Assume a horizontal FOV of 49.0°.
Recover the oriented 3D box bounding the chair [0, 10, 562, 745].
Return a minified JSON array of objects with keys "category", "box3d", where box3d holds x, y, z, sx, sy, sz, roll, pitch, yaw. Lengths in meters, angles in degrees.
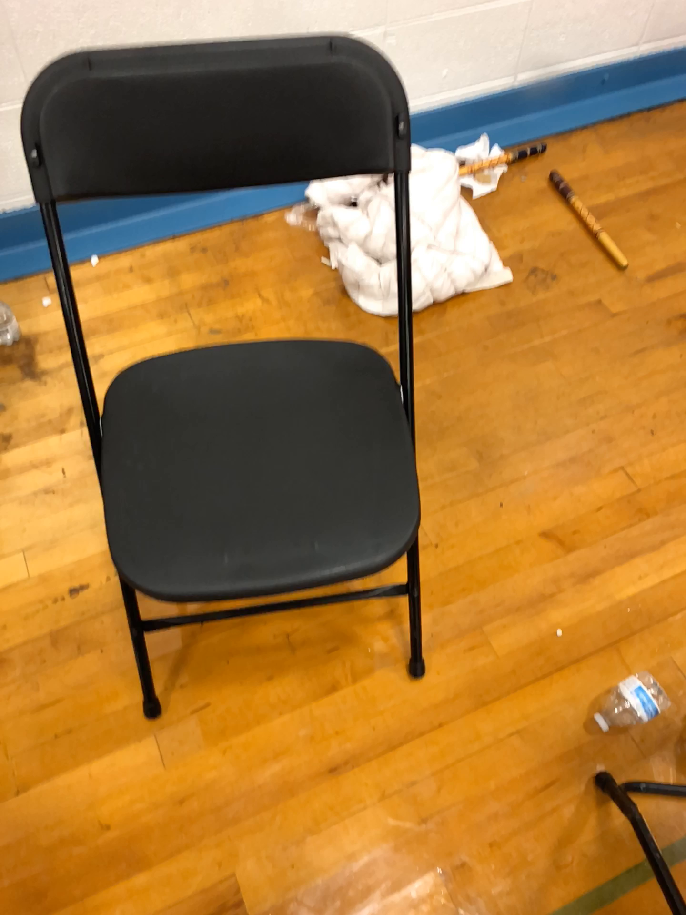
[{"category":"chair","box3d":[-0.130,-0.046,0.947,0.471,0.720,0.526,-7,54,-7]}]
